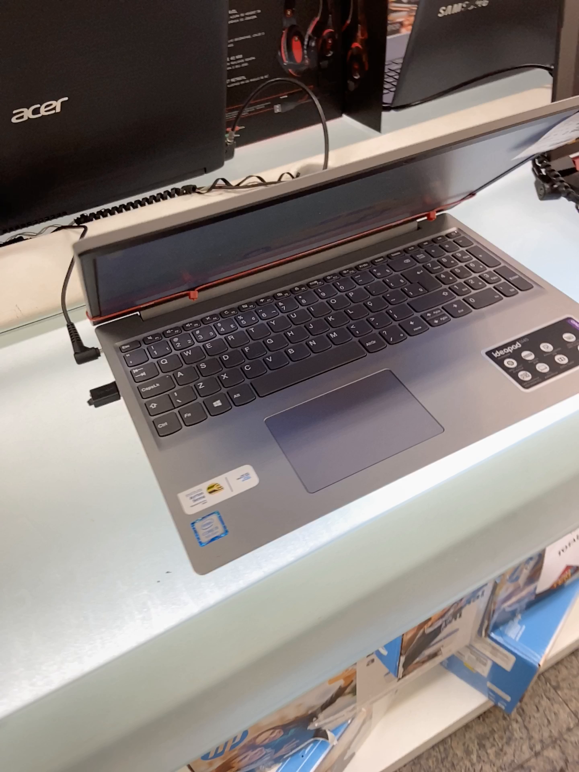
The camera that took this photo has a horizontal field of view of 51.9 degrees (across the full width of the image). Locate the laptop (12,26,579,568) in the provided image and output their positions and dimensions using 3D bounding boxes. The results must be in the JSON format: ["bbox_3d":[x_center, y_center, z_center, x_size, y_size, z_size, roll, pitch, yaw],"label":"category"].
[{"bbox_3d":[0.044,-0.096,0.415,0.361,0.167,0.247,-22,48,-17],"label":"laptop"}]
